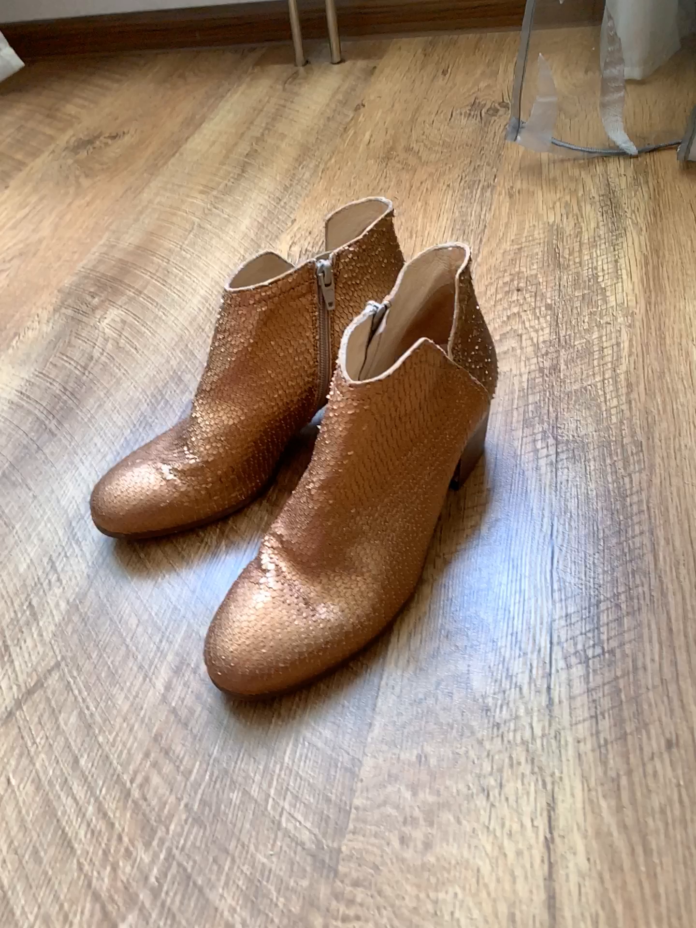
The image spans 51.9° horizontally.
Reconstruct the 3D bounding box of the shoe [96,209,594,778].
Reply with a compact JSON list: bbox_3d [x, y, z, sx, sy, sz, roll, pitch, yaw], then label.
[{"bbox_3d":[0.019,0.003,0.326,0.080,0.129,0.220,25,56,29],"label":"shoe"}]

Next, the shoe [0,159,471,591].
[{"bbox_3d":[-0.048,-0.050,0.382,0.220,0.129,0.080,-27,48,-15],"label":"shoe"}]
